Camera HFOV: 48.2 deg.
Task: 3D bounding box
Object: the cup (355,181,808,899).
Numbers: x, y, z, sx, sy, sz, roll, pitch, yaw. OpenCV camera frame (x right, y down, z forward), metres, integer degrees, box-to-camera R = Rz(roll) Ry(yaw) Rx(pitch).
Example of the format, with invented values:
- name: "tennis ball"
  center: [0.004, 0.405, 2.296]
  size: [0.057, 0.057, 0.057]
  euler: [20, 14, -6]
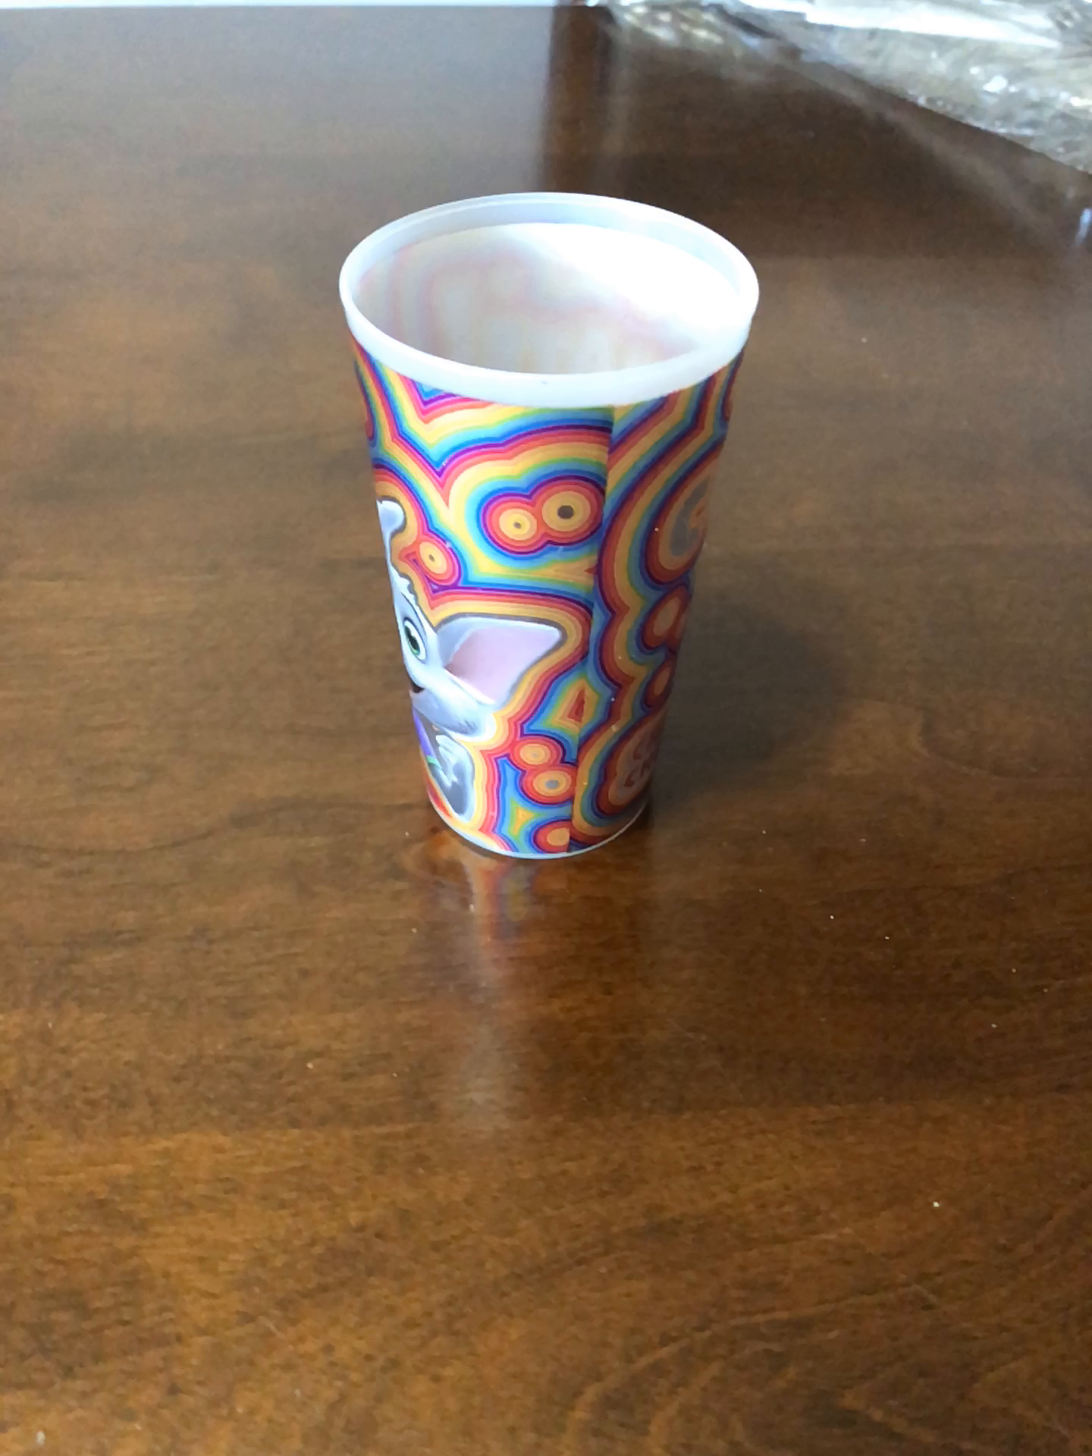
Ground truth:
- name: "cup"
  center: [0.001, -0.034, 0.257]
  size: [0.070, 0.130, 0.070]
  euler: [1, 44, -1]
